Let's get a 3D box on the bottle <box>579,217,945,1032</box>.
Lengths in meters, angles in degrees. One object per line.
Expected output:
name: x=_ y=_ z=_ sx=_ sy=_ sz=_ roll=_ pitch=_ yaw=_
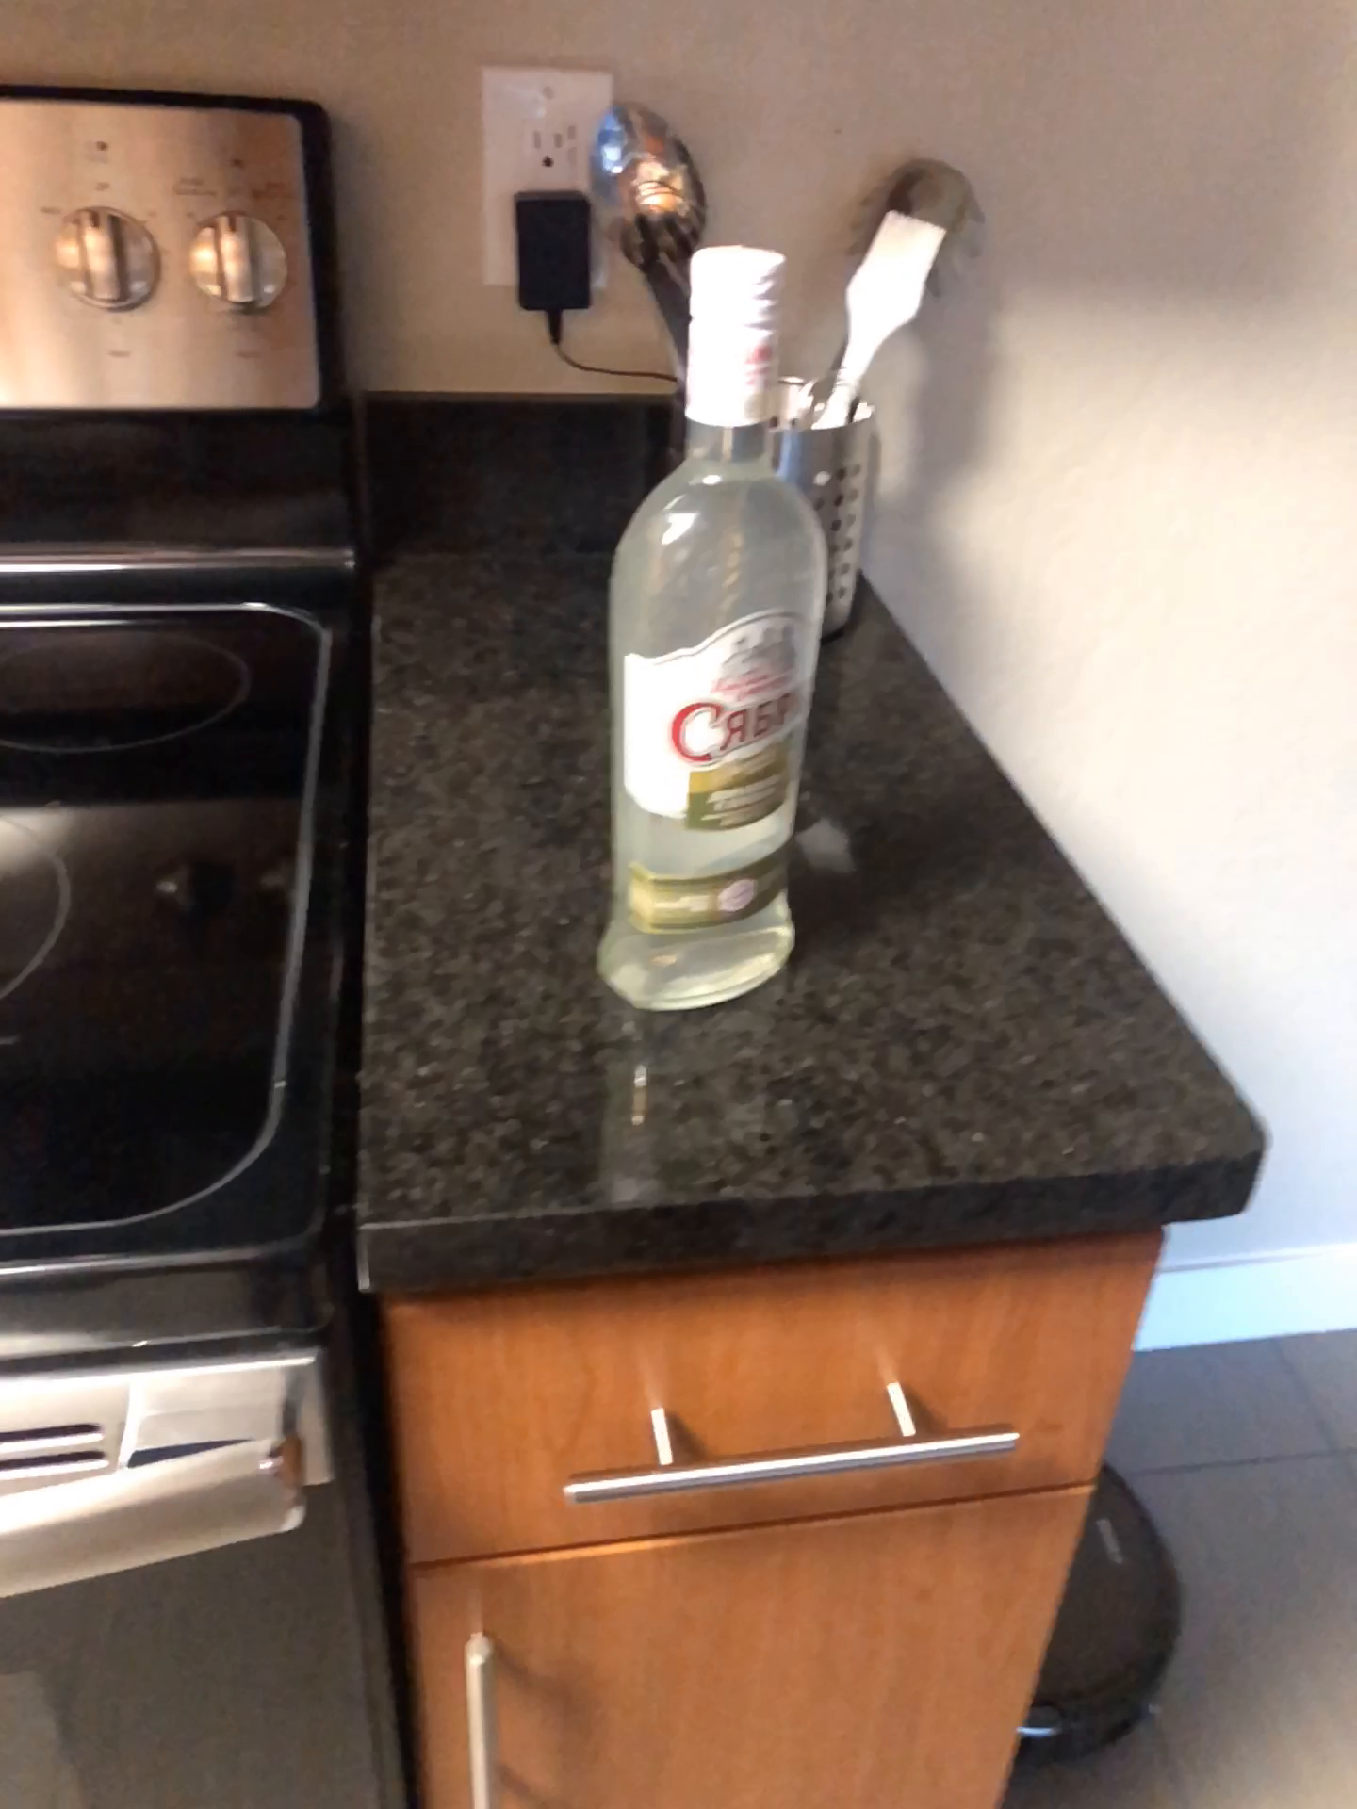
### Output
bottle: x=0.021 y=-0.091 z=0.532 sx=0.090 sy=0.269 sz=0.060 roll=-14 pitch=36 yaw=-26
